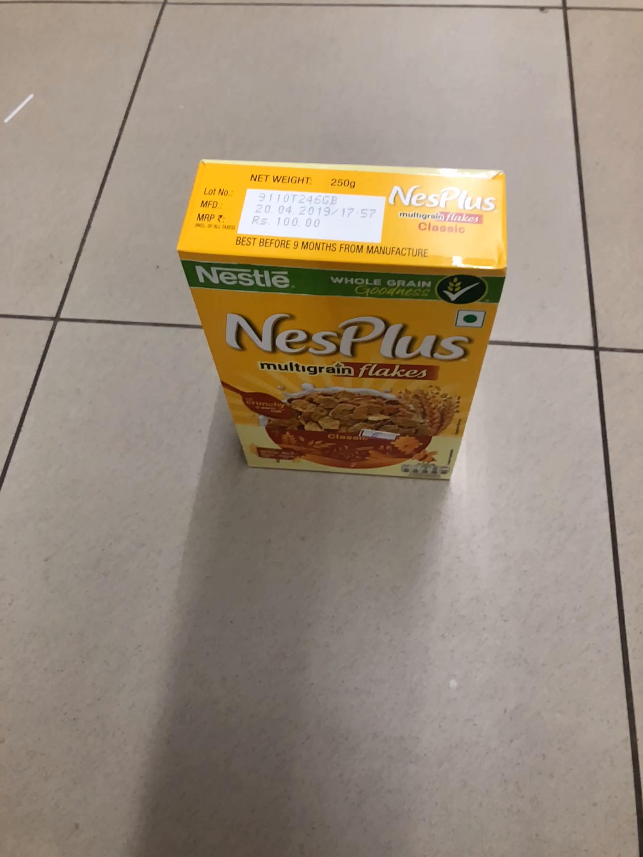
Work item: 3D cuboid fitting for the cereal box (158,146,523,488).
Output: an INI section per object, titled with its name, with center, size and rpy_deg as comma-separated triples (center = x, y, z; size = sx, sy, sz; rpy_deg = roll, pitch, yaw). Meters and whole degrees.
[cereal box]
center = 0.014, -0.043, 0.373
size = 0.140, 0.199, 0.060
rpy_deg = 4, 61, 5
